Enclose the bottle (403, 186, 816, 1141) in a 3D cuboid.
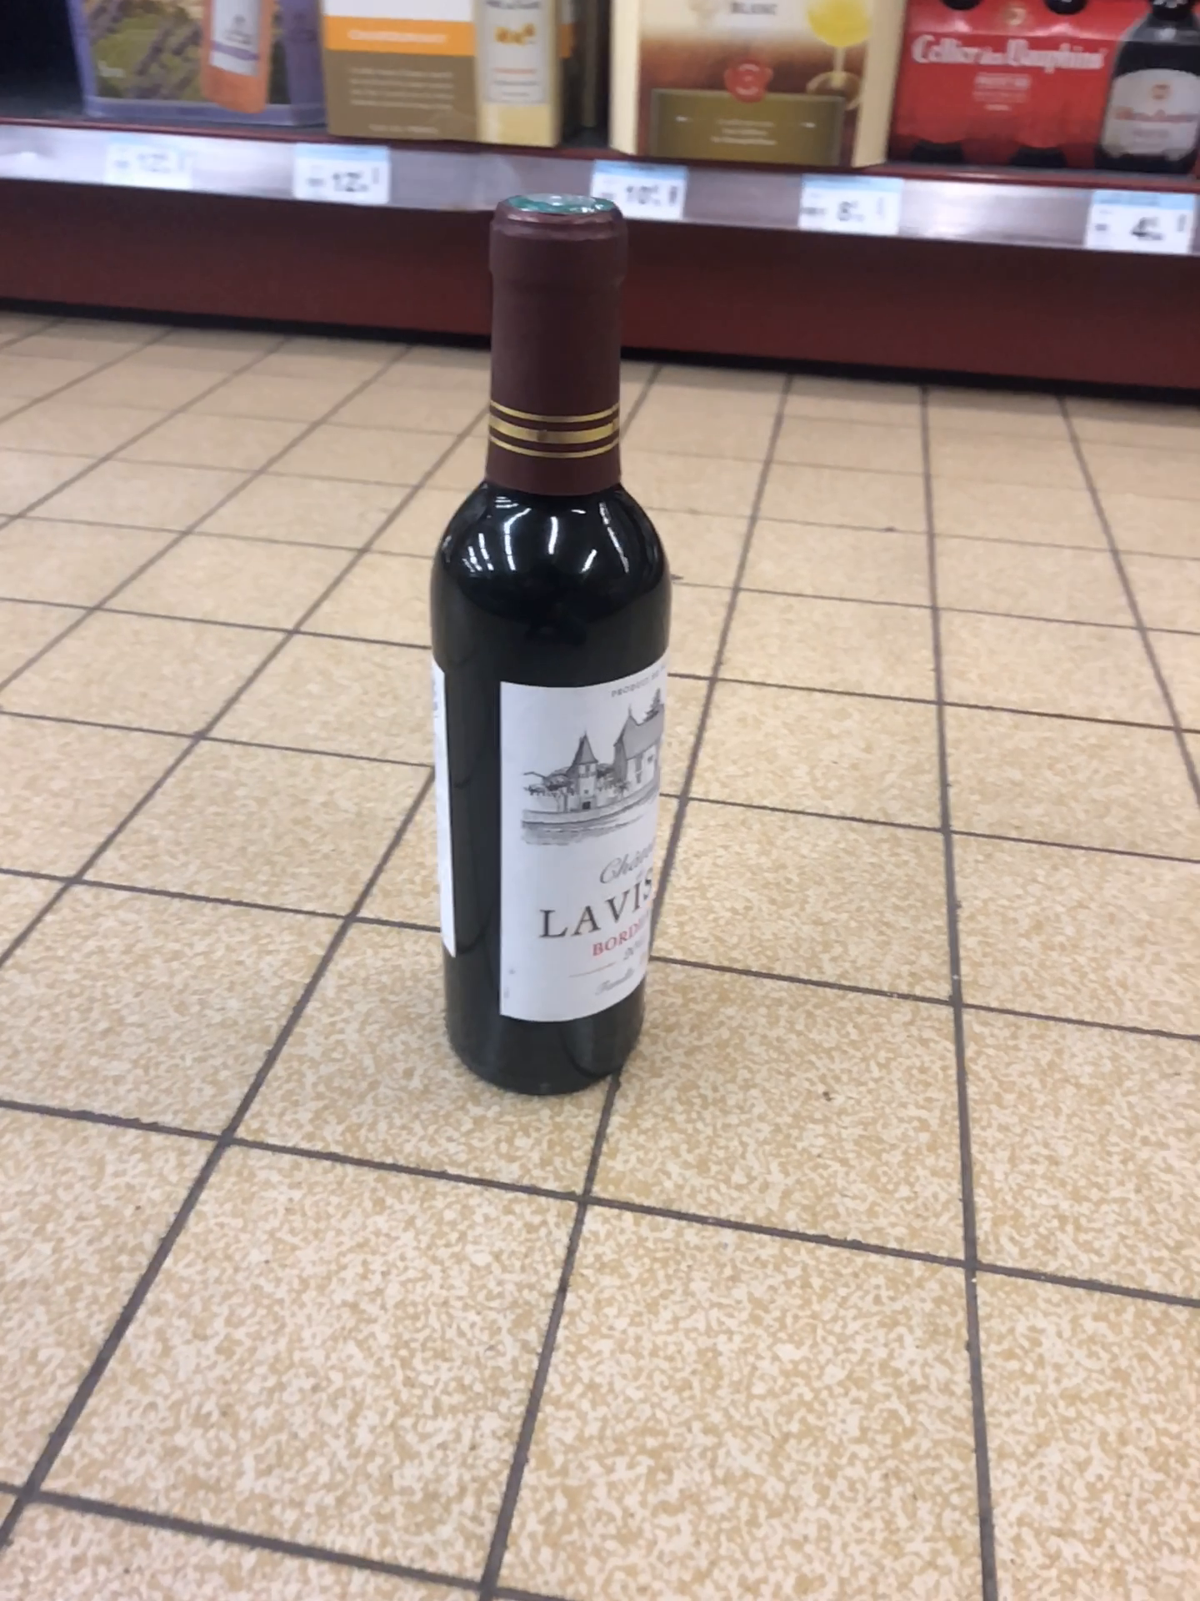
[{"bbox_3d":[0.001,-0.027,0.330,0.060,0.219,0.070,16,35,22],"label":"bottle"}]
